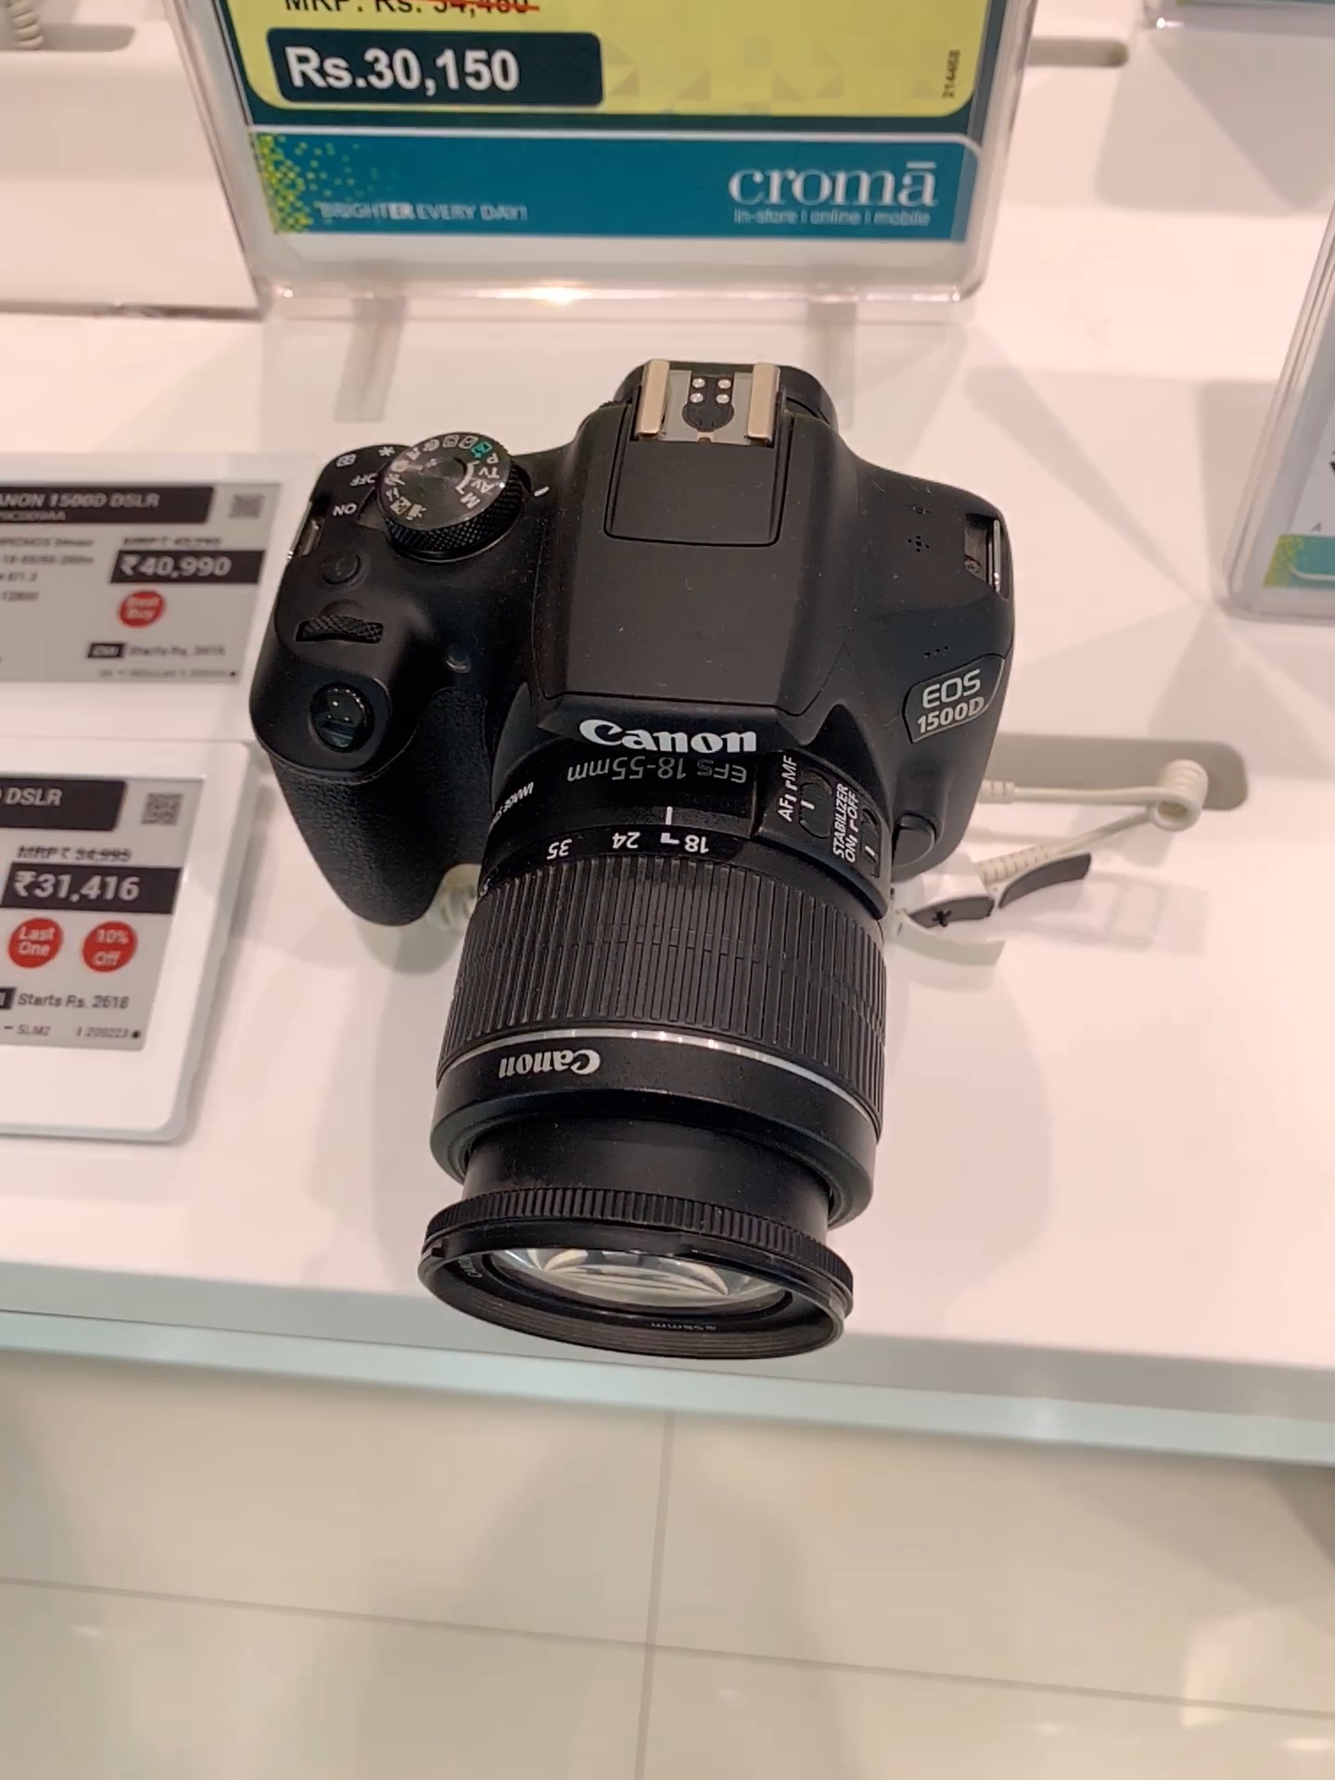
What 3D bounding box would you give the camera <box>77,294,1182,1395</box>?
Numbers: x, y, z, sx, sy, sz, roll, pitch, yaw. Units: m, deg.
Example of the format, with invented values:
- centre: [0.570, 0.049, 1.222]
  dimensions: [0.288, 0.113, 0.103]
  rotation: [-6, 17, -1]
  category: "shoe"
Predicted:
- centre: [0.003, -0.007, 0.209]
  dimensions: [0.110, 0.090, 0.130]
  rotation: [4, 58, 4]
  category: "camera"
